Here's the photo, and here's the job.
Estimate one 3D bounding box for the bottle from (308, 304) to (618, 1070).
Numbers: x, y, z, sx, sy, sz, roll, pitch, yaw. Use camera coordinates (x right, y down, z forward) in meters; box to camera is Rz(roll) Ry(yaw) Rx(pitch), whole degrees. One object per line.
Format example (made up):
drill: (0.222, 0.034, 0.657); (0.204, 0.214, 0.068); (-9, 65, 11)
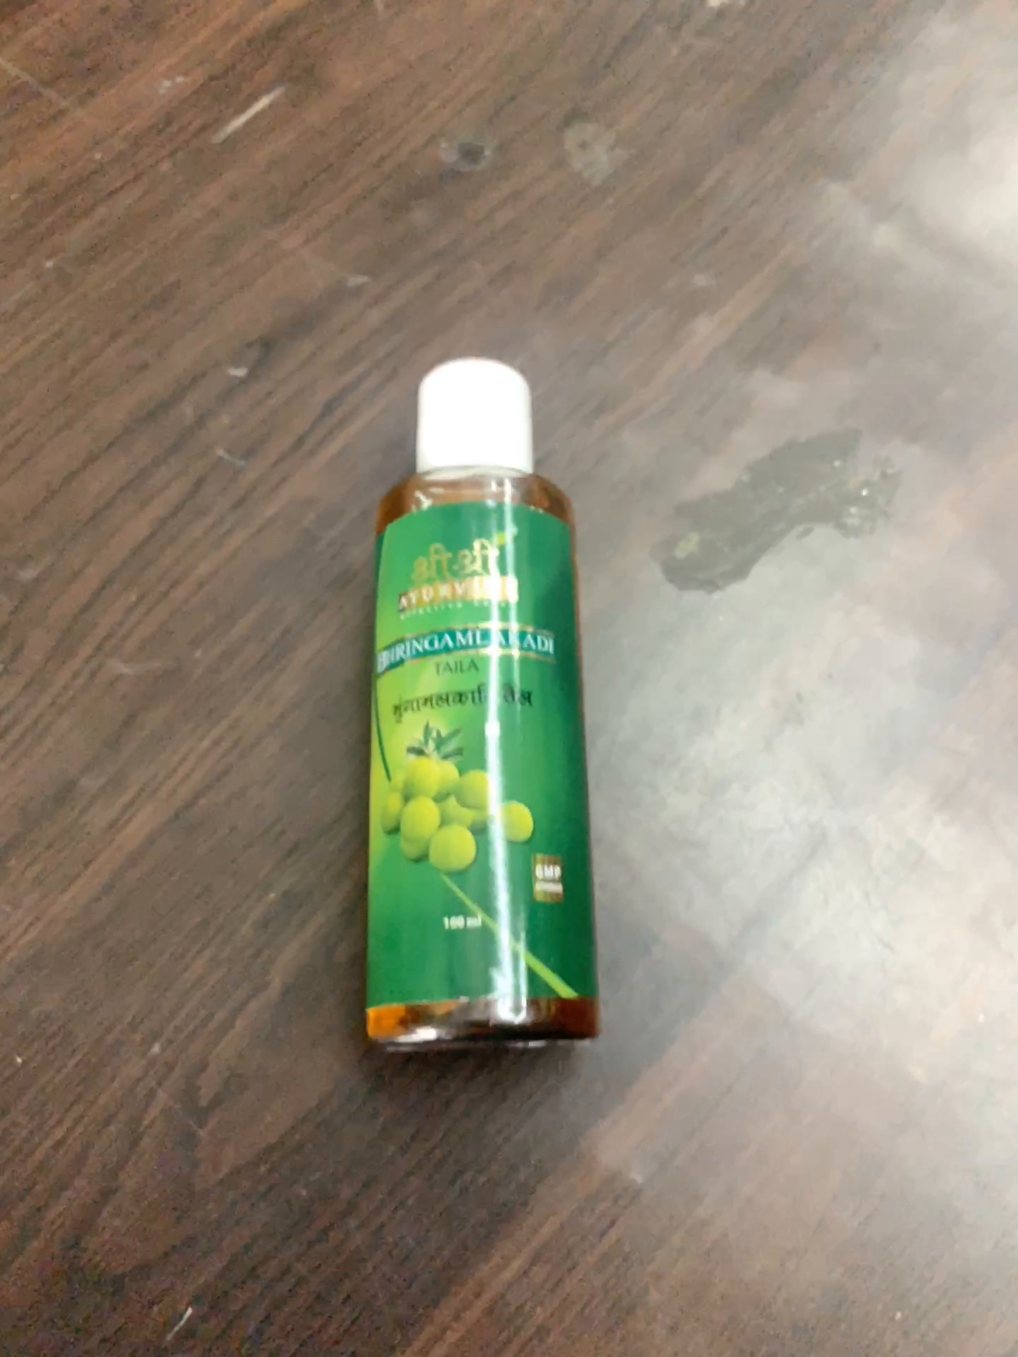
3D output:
bottle: (-0.005, 0.001, 0.180); (0.040, 0.040, 0.120); (-3, 69, 6)
